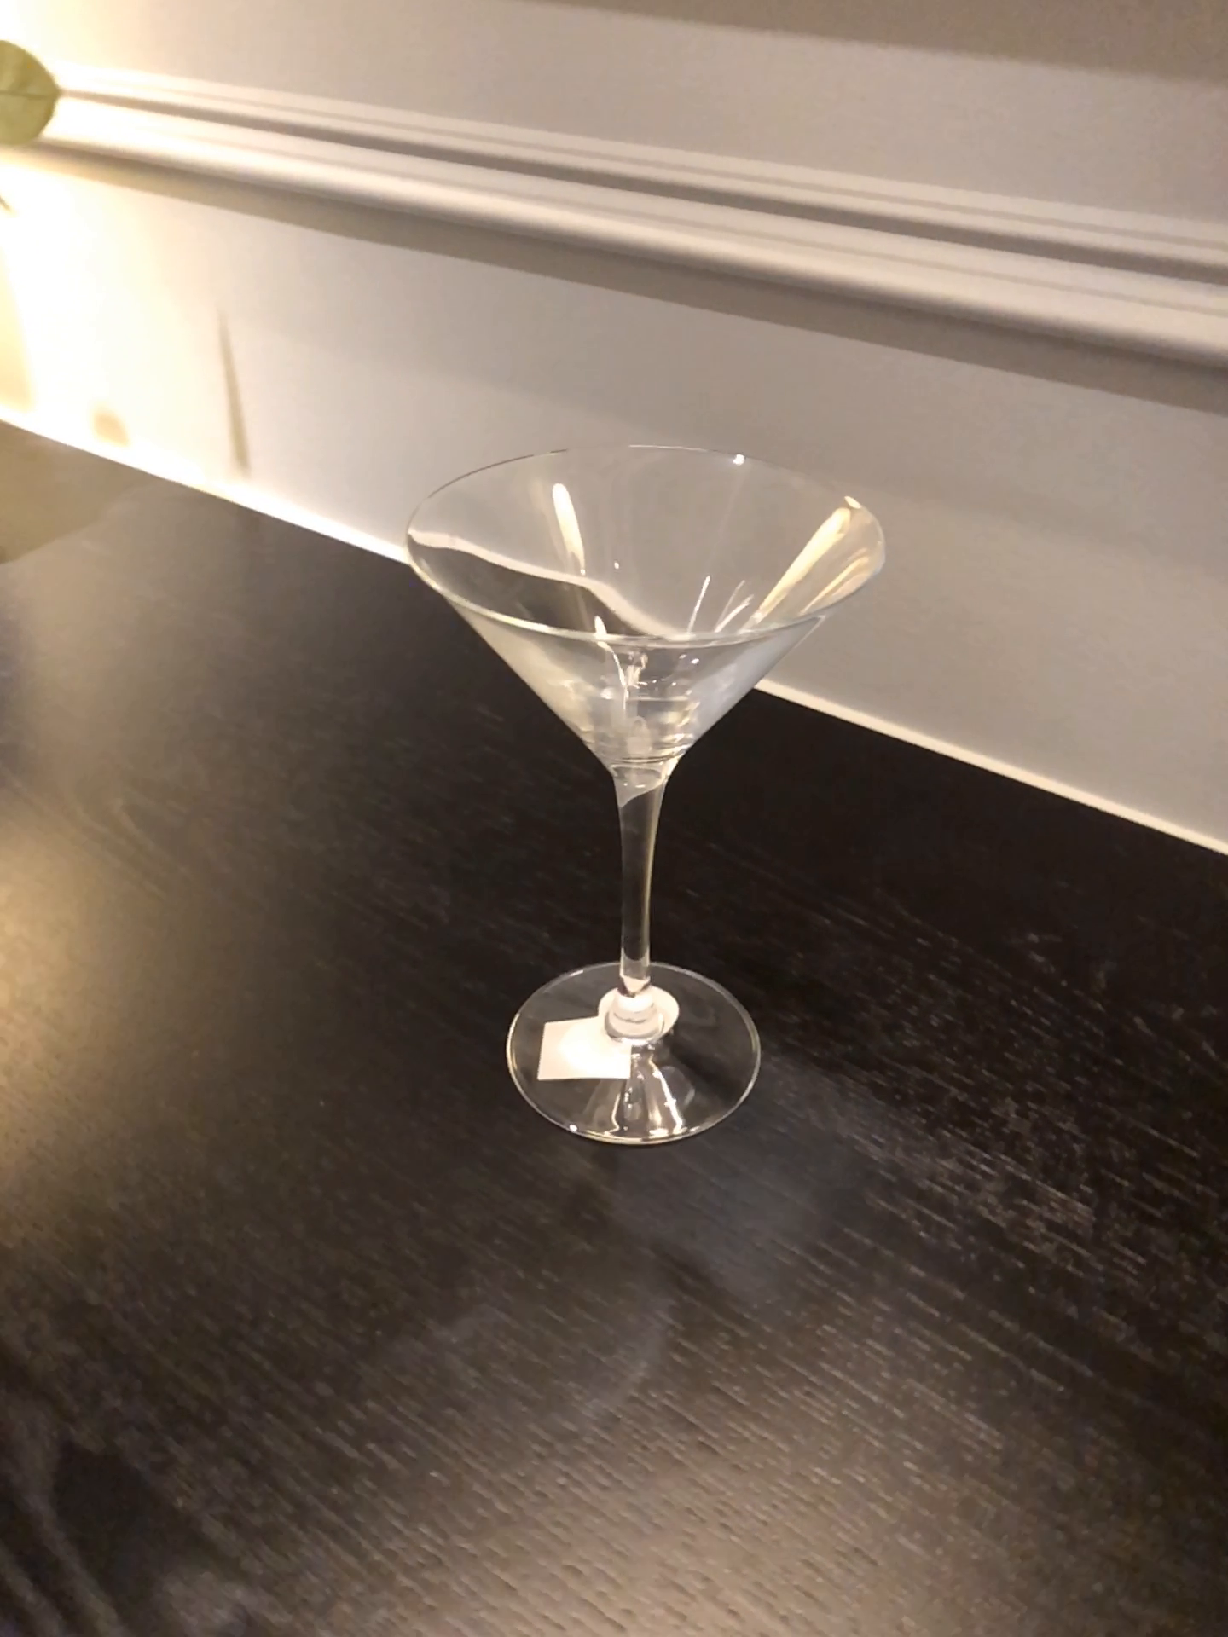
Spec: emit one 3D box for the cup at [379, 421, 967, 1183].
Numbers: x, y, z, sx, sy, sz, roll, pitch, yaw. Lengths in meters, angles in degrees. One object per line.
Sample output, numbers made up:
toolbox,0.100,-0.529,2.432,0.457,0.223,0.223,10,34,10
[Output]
cup,0.005,-0.010,0.389,0.120,0.159,0.131,0,34,0
